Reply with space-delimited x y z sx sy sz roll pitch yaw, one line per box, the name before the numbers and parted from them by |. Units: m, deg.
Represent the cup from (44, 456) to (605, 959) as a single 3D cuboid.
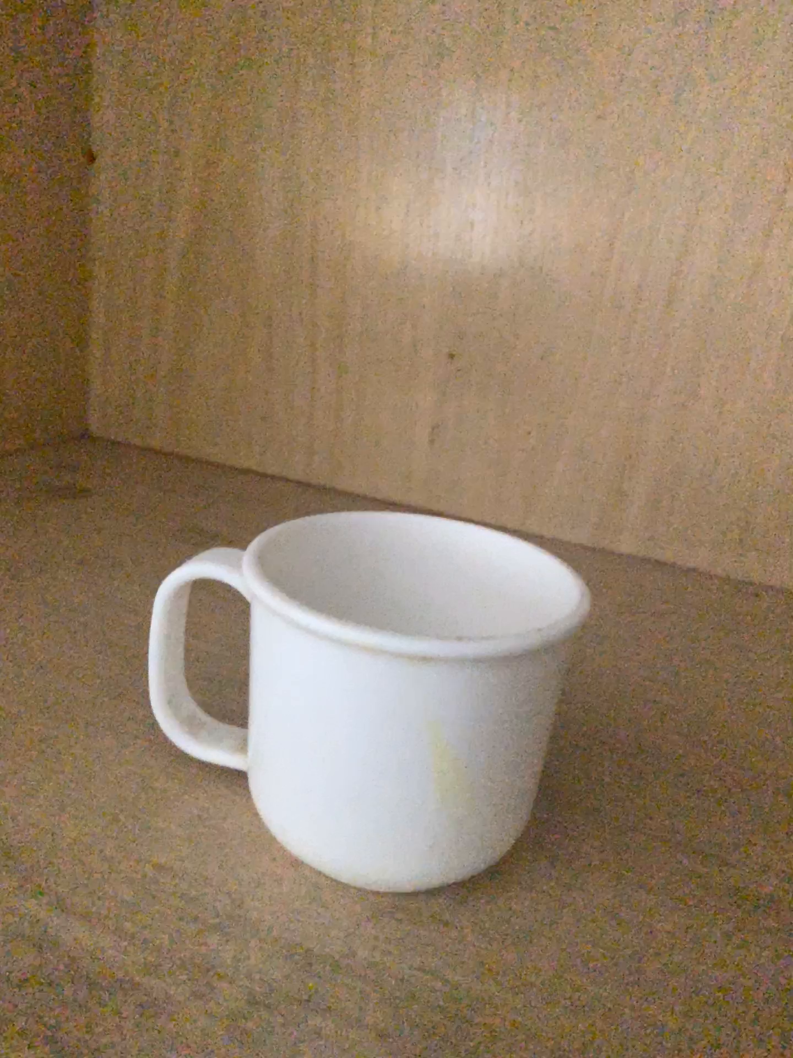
cup | -0.013 0.033 0.204 0.110 0.070 0.080 10 19 9
